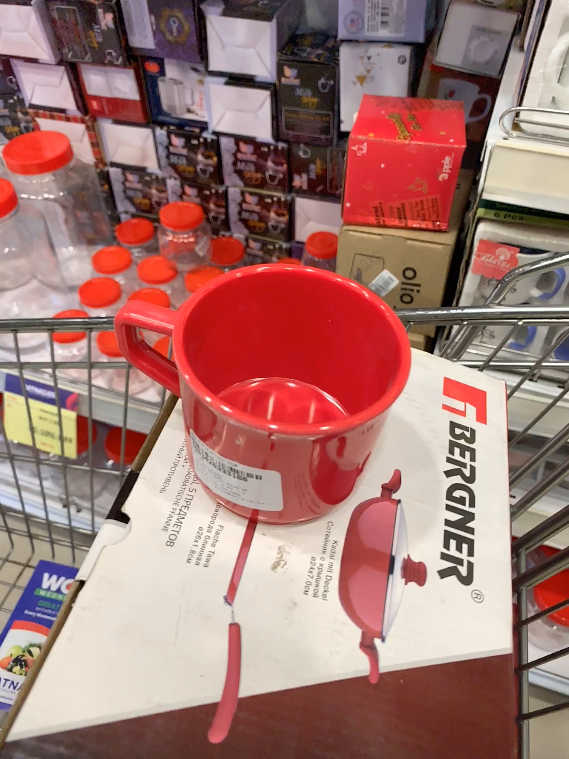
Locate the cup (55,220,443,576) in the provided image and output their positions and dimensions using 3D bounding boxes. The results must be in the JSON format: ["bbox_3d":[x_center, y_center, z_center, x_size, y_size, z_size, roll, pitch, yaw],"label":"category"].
[{"bbox_3d":[-0.007,0.003,0.189,0.090,0.060,0.070,17,48,12],"label":"cup"}]
